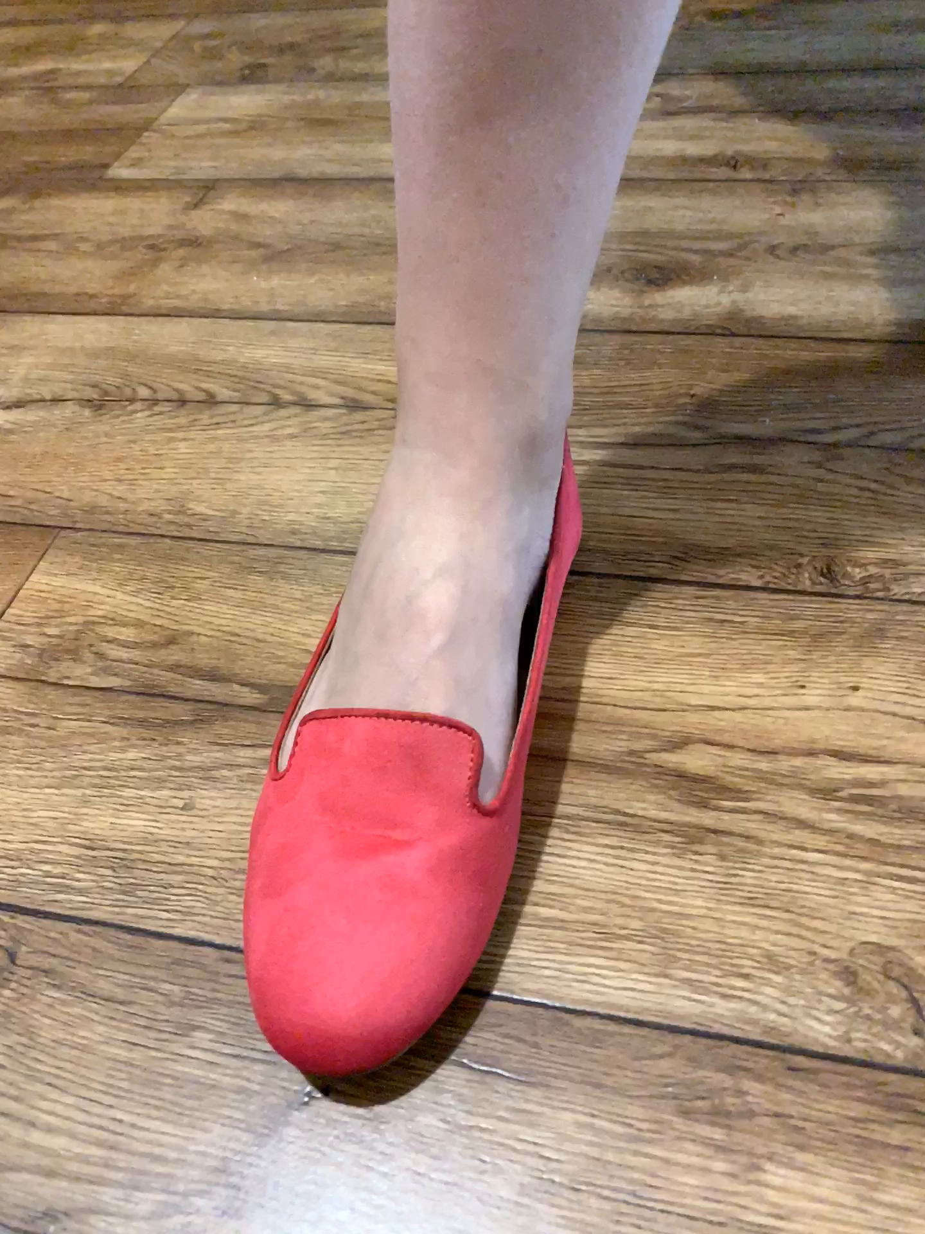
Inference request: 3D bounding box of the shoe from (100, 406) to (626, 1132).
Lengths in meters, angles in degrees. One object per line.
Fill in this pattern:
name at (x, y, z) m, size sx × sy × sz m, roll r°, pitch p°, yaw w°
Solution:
shoe at (-0.011, 0.027, 0.306) m, size 0.086 × 0.060 × 0.221 m, roll 9°, pitch 51°, yaw 15°
